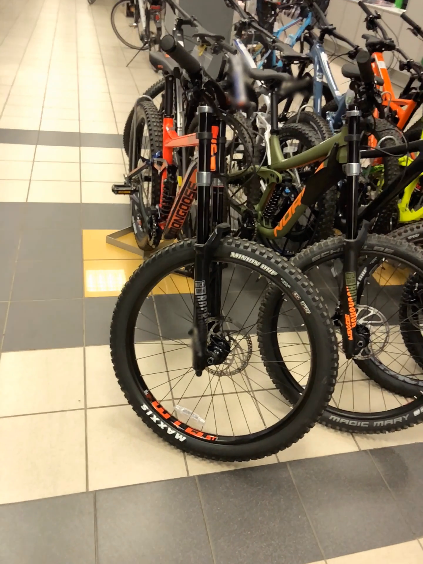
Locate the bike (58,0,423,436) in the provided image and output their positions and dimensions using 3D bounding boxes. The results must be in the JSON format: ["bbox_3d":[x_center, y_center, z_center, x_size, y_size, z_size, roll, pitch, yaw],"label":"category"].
[{"bbox_3d":[0.041,-0.446,1.800,0.801,1.109,1.704,-9,36,-24],"label":"bike"}]
